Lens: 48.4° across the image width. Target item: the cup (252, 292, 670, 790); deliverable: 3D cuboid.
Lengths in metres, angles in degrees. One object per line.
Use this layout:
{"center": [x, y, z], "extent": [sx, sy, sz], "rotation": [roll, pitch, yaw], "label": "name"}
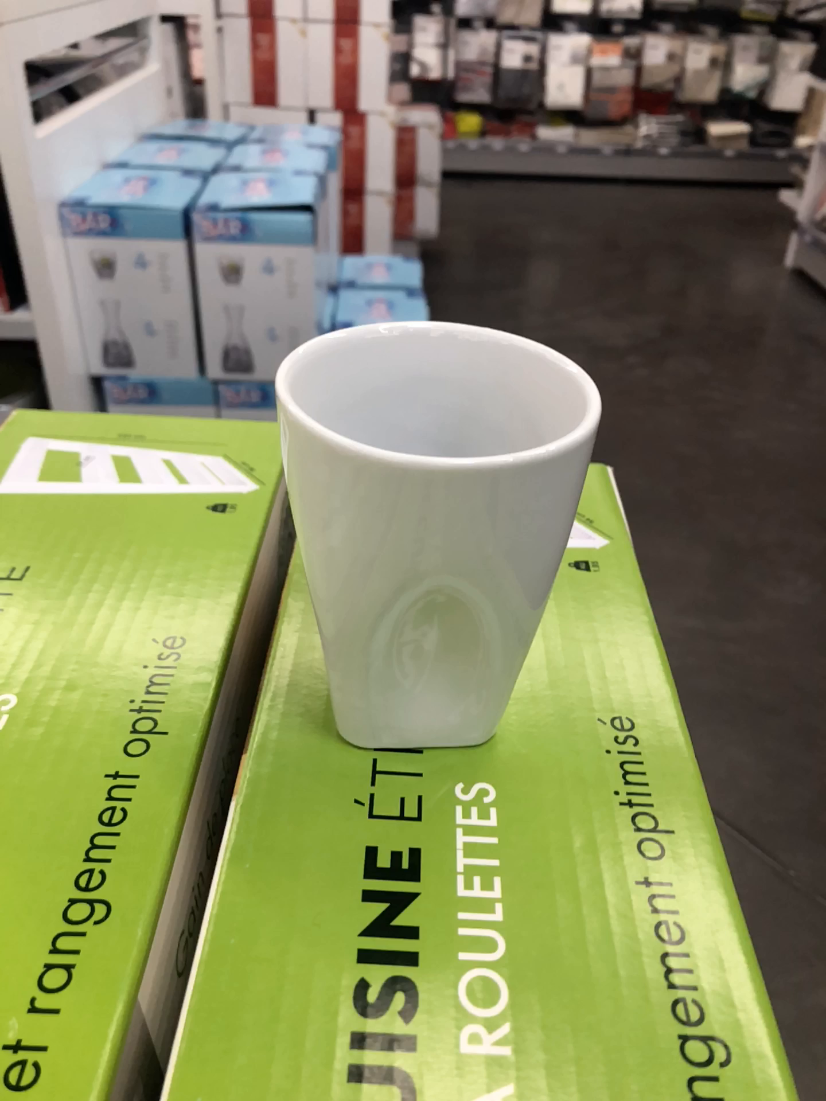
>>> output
{"center": [0.005, -0.009, 0.251], "extent": [0.083, 0.087, 0.112], "rotation": [0, 34, -4], "label": "cup"}
